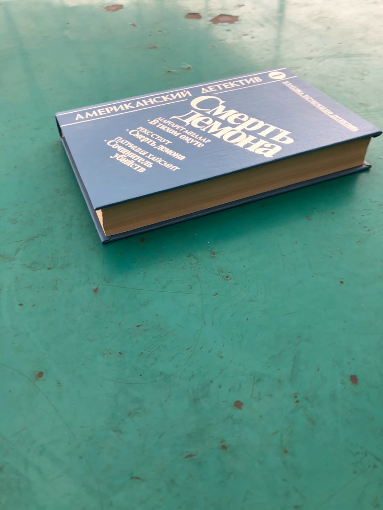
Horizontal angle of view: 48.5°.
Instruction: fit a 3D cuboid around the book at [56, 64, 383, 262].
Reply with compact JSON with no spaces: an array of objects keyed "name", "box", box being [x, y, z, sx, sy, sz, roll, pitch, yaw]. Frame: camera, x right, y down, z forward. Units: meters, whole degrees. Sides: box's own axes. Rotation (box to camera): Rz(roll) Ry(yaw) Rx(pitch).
[{"name":"book","box":[0.022,-0.083,0.316,0.212,0.034,0.142,-16,47,-15]}]
